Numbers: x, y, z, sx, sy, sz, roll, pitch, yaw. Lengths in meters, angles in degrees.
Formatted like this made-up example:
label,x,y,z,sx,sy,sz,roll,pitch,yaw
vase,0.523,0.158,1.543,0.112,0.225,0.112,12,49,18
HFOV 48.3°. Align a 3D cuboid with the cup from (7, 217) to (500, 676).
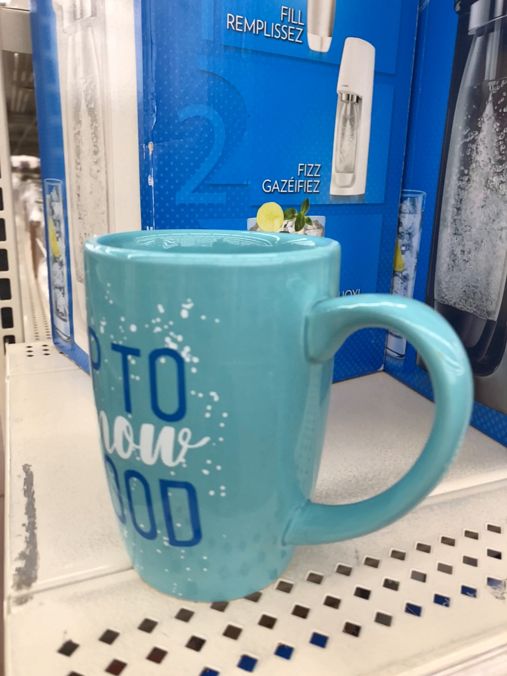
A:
label,x,y,z,sx,sy,sz,roll,pitch,yaw
cup,0.002,0.023,0.206,0.140,0.120,0.090,10,17,26
